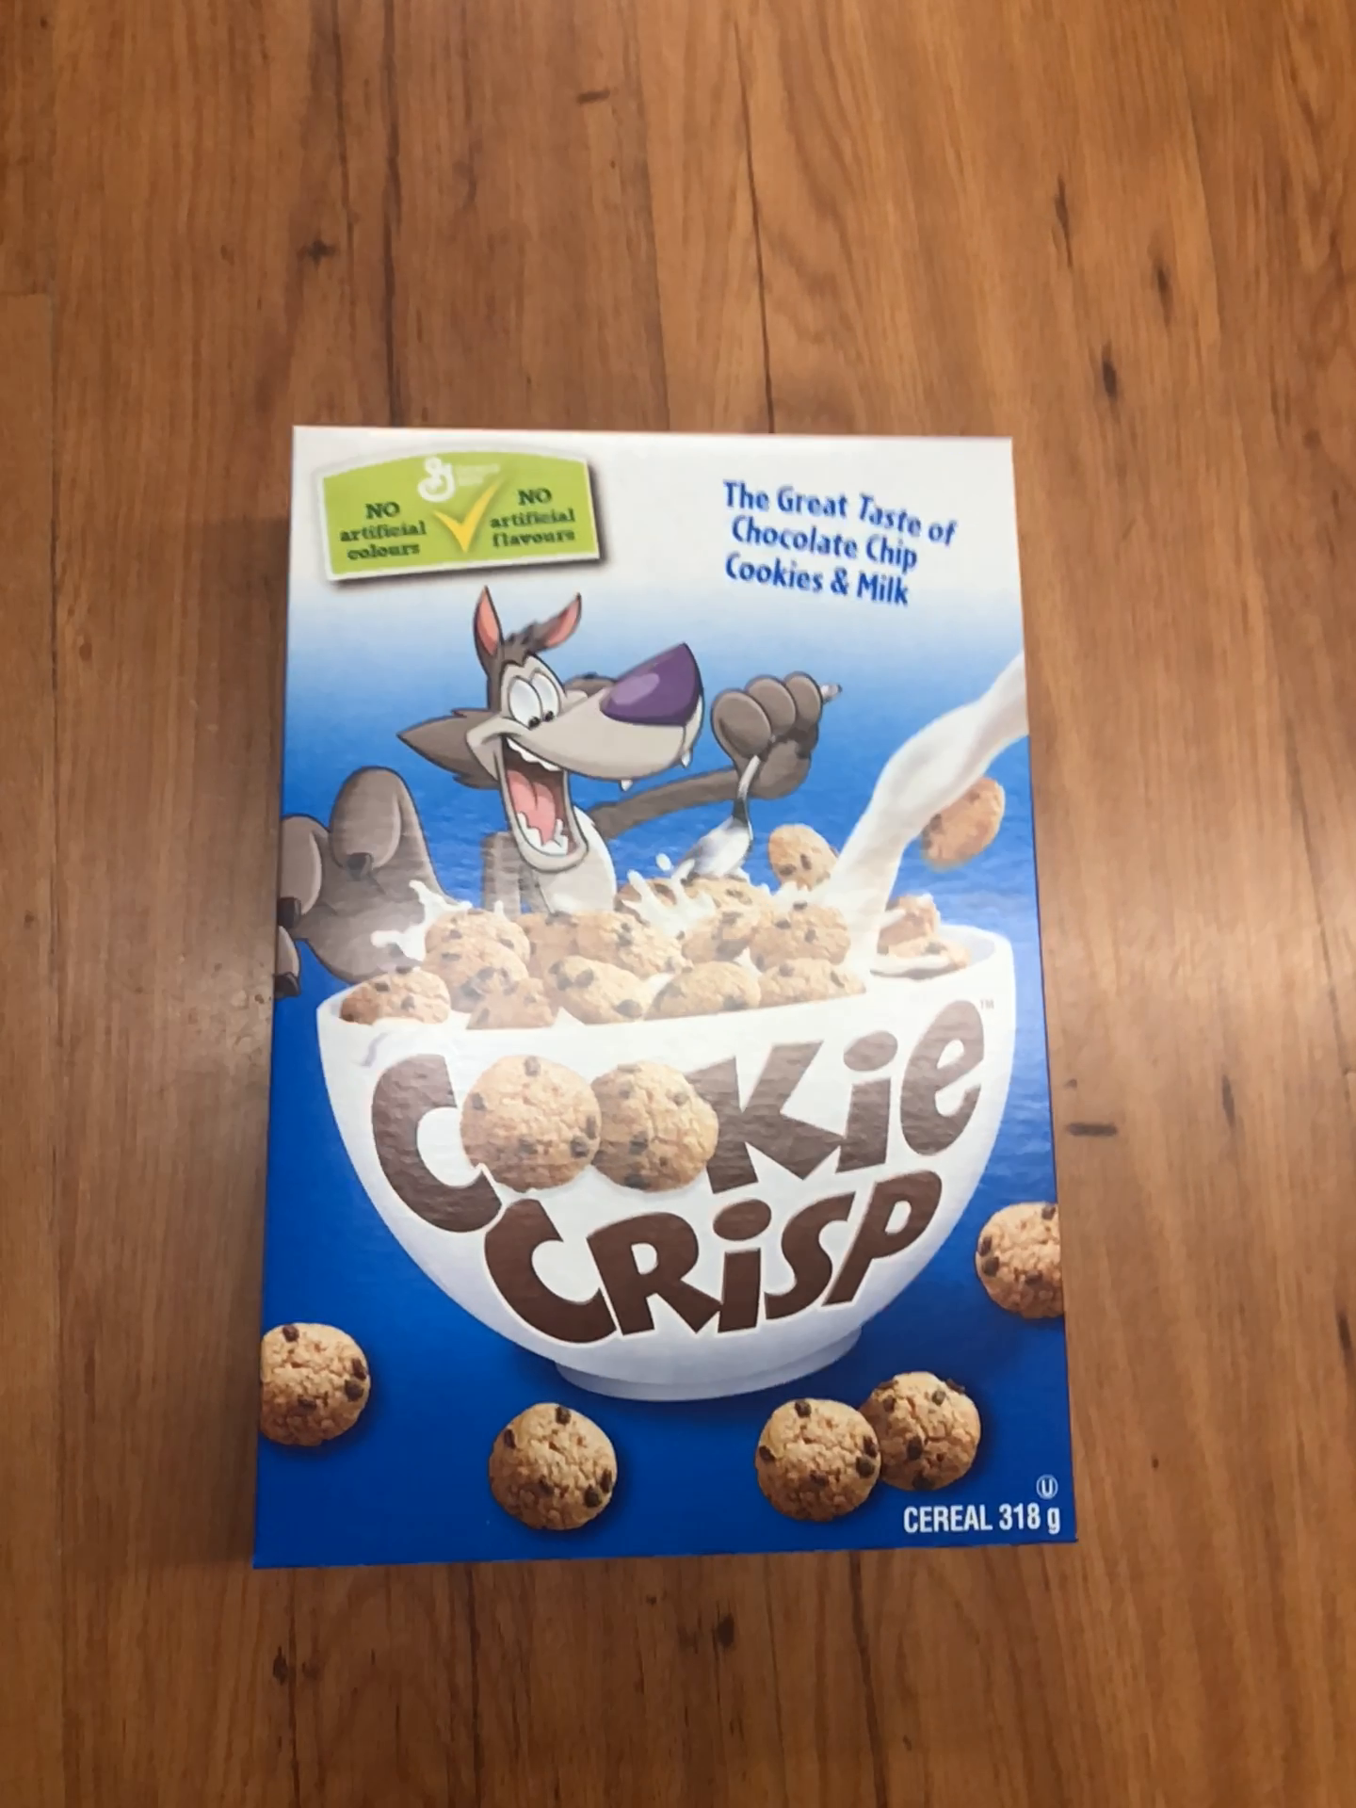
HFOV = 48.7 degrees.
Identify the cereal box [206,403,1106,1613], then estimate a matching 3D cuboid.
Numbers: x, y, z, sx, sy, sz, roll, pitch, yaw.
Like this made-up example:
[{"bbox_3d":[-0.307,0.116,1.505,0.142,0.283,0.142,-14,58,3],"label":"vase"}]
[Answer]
[{"bbox_3d":[-0.007,0.019,0.383,0.200,0.060,0.280,0,81,-4],"label":"cereal box"}]
